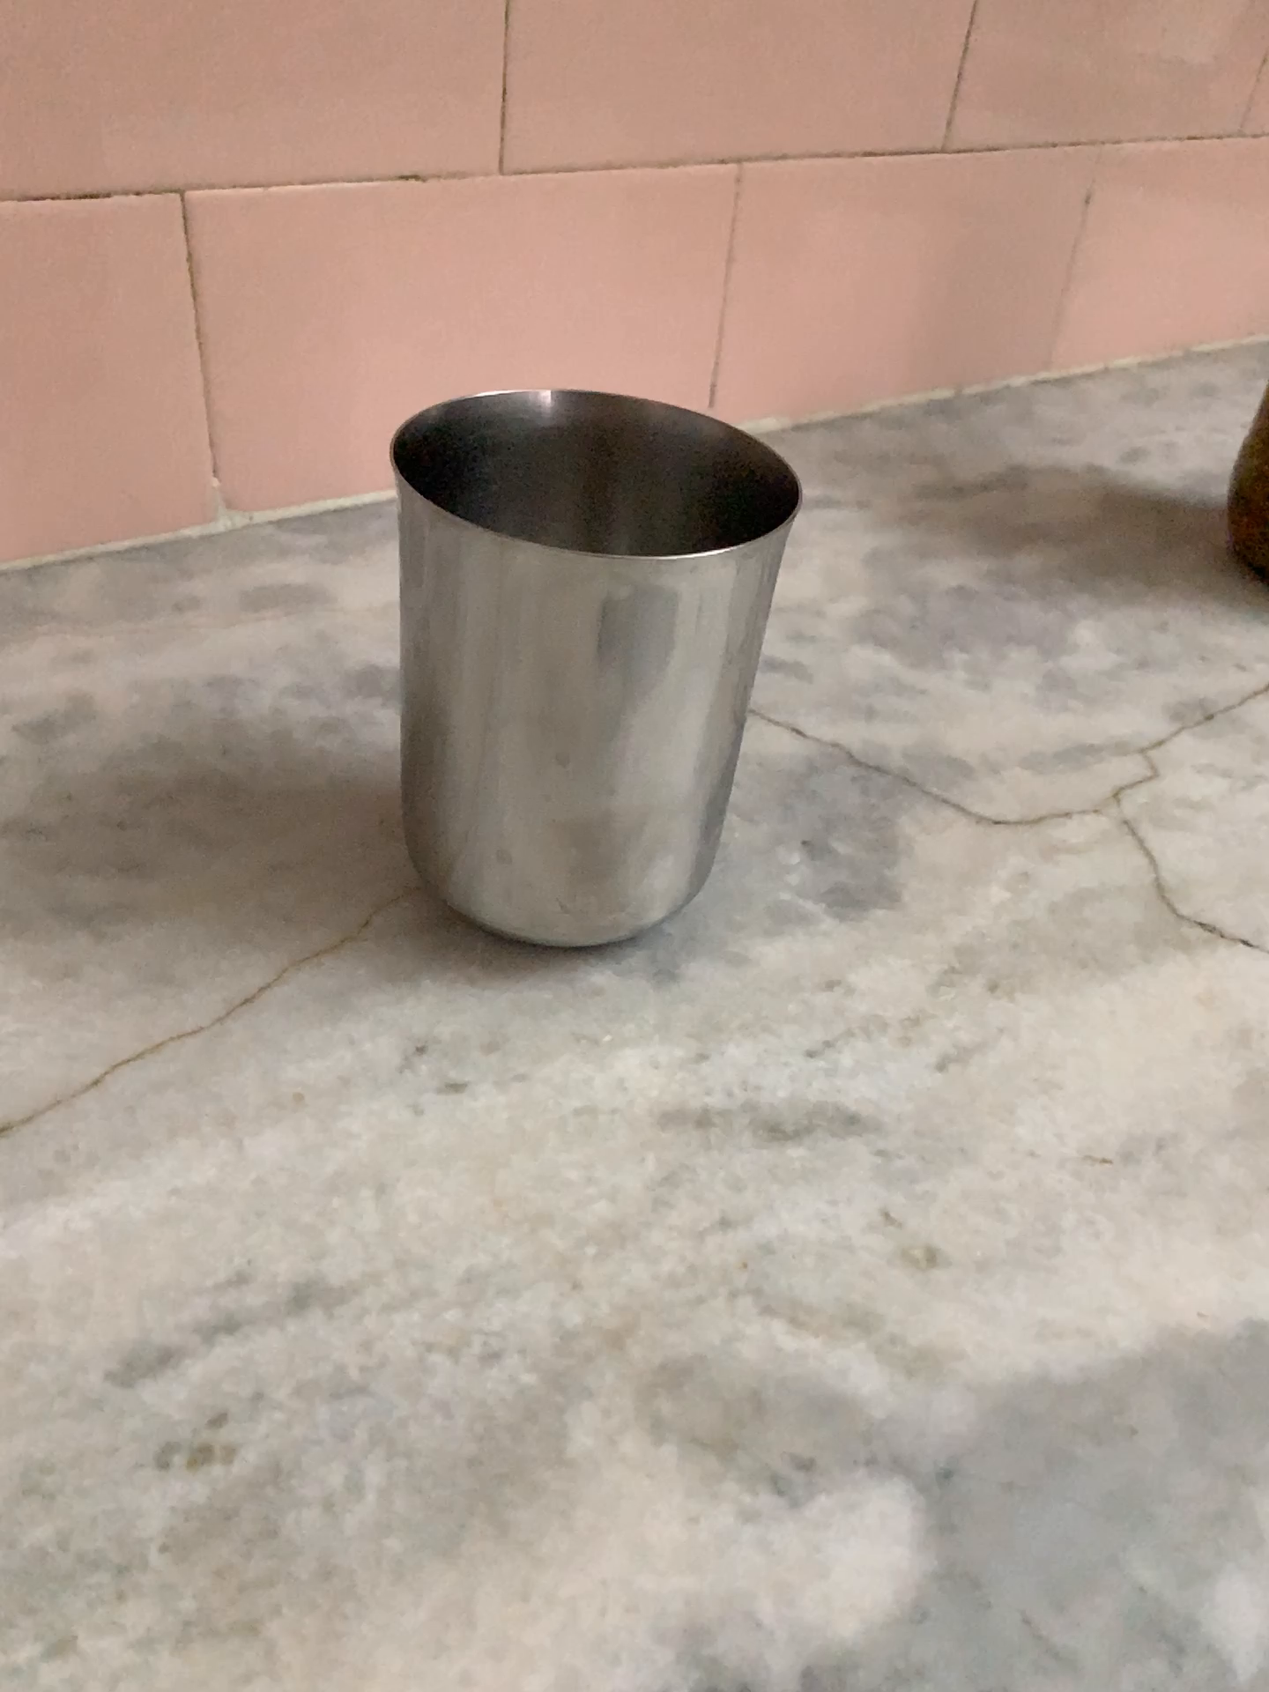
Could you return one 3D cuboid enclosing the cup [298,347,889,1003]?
[{"bbox_3d":[-0.015,-0.037,0.255,0.080,0.090,0.080,4,38,-3],"label":"cup"}]
